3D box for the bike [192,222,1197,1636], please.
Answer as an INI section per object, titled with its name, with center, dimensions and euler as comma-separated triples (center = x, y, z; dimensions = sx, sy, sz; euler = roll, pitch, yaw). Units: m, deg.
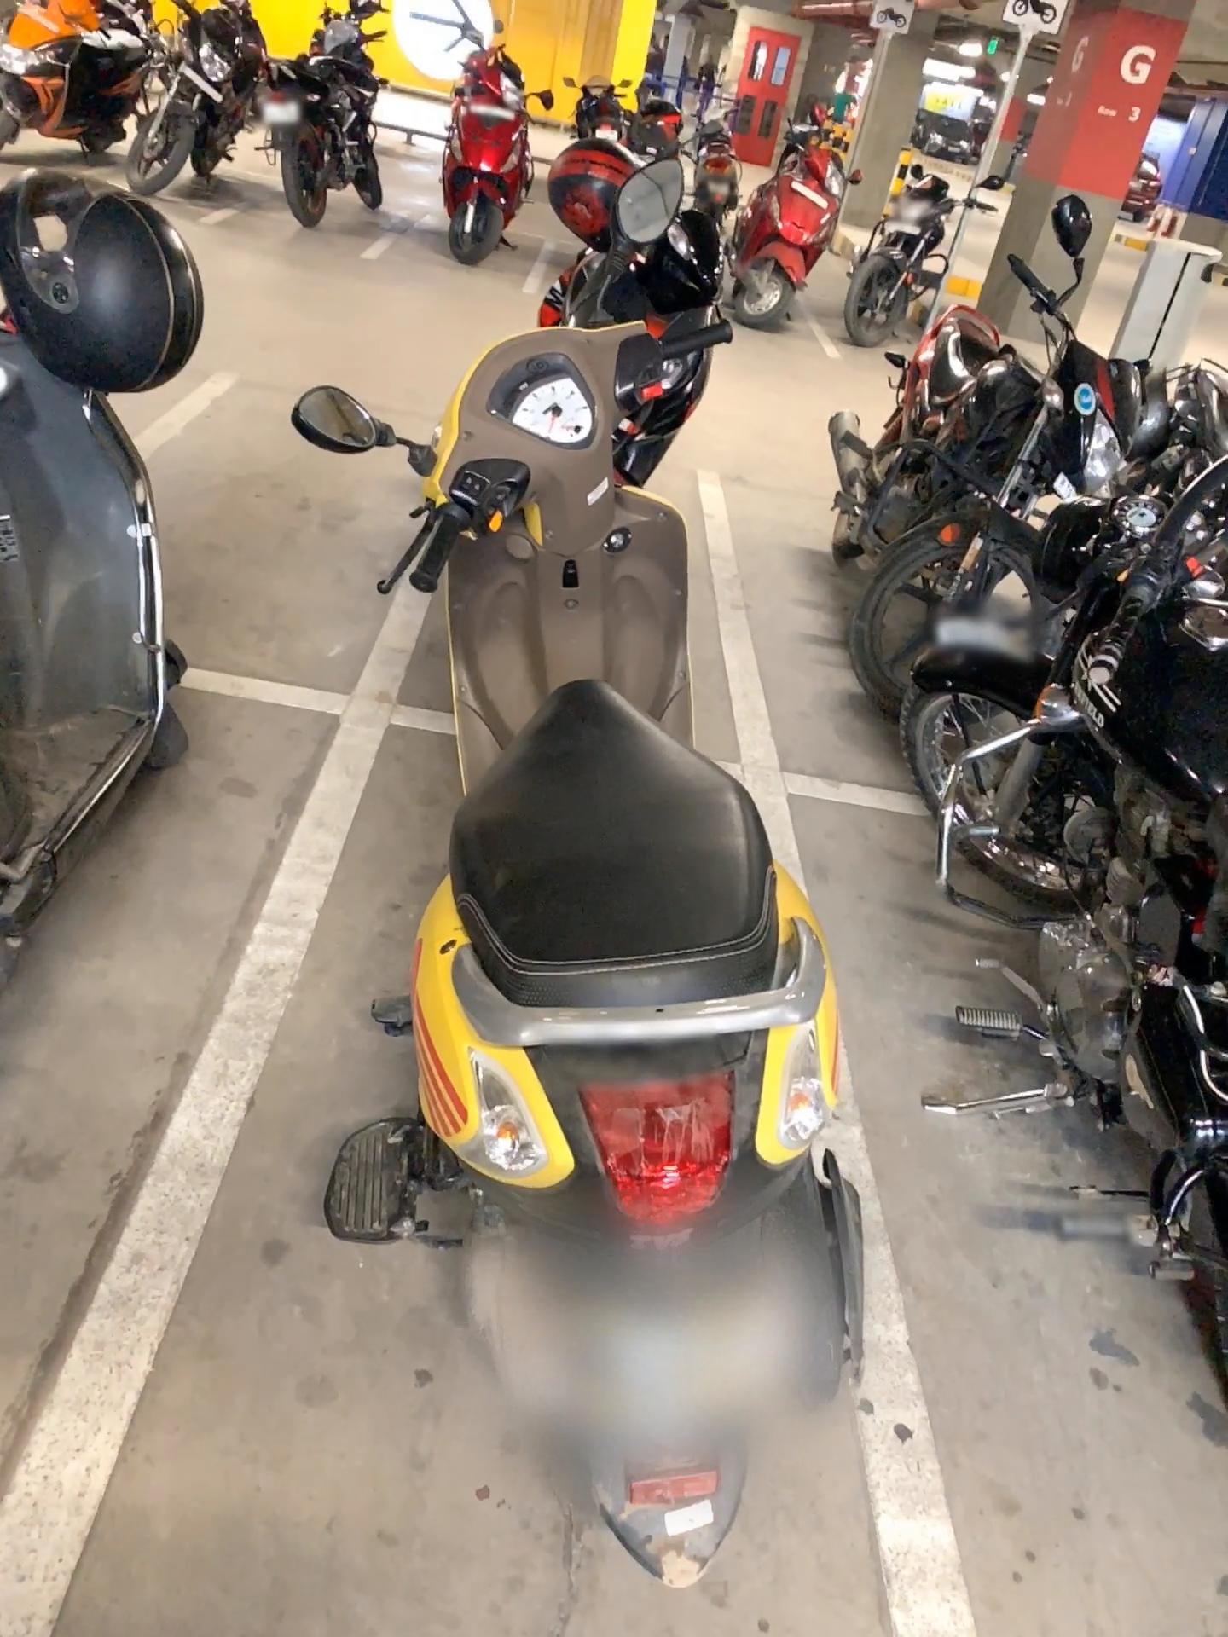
[bike]
center = -0.093, -0.092, 1.692
dimensions = 0.566, 1.048, 1.712
euler = 7, 30, -11
